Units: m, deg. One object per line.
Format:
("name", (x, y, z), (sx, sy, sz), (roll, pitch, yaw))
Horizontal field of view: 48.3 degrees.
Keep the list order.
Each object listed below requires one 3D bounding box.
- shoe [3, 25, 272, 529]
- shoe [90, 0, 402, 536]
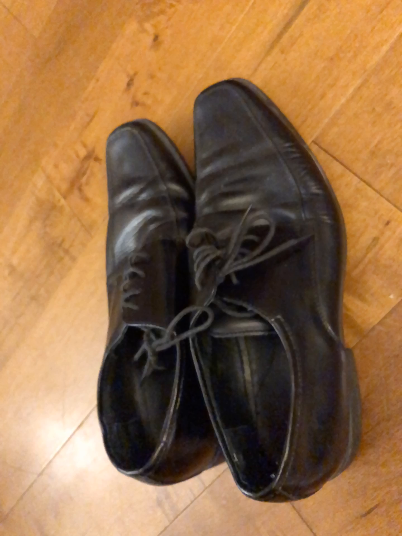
("shoe", (-0.052, 0.006, 0.350), (0.110, 0.129, 0.310), (-17, 76, 32))
("shoe", (0.032, -0.014, 0.294), (0.110, 0.129, 0.310), (-17, 76, 32))
